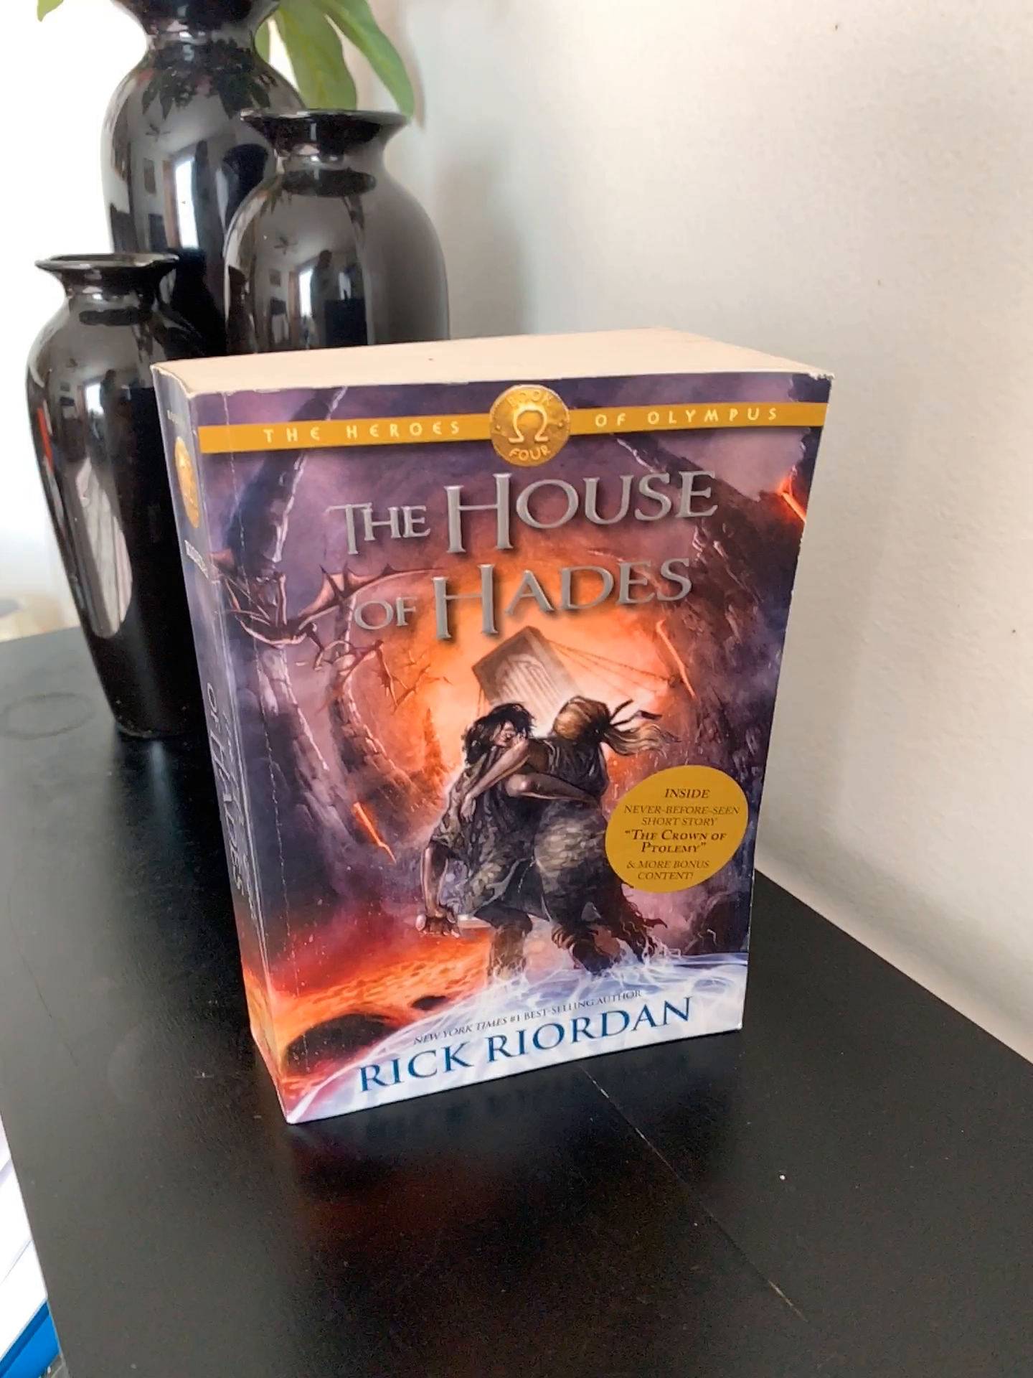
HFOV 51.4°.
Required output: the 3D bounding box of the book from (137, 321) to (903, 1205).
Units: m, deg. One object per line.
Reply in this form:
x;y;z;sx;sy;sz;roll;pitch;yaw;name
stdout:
-0.002;0.008;0.265;0.145;0.176;0.078;-11;27;-24;book
